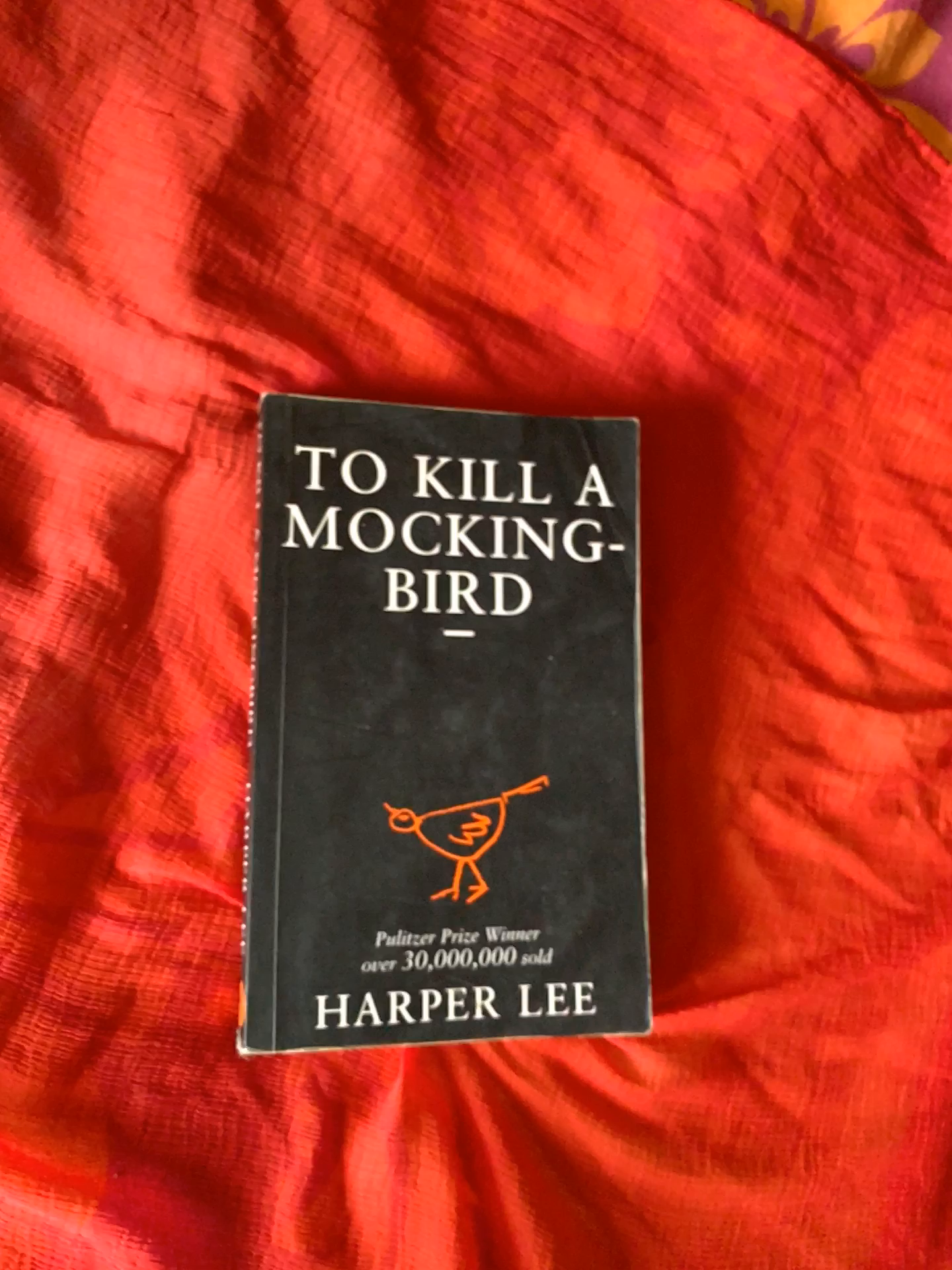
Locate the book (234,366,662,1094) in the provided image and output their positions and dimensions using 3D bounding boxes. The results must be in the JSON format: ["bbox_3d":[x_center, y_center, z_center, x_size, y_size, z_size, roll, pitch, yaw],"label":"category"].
[{"bbox_3d":[-0.009,0.023,0.282,0.110,0.040,0.180,1,83,-16],"label":"book"}]
